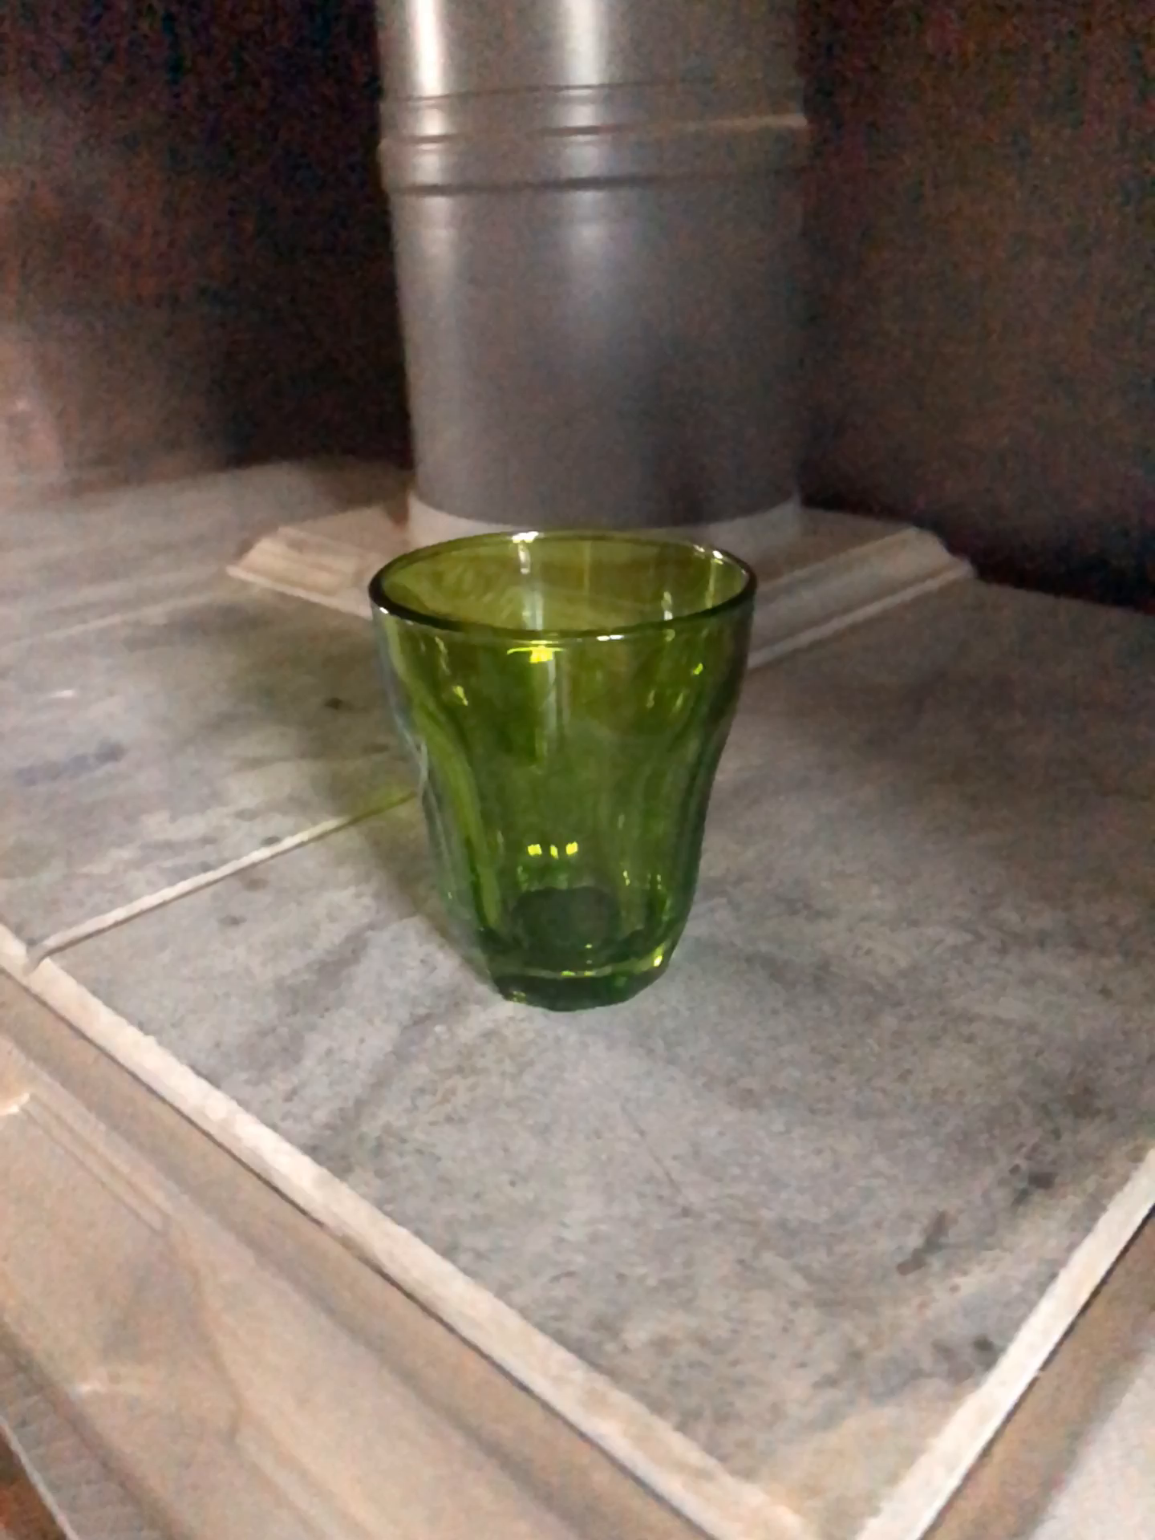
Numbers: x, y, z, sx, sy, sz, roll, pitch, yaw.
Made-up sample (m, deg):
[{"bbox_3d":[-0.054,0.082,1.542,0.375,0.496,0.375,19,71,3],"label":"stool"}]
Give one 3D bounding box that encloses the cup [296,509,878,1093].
[{"bbox_3d":[0.003,-0.002,0.265,0.080,0.080,0.080,-1,23,0],"label":"cup"}]
